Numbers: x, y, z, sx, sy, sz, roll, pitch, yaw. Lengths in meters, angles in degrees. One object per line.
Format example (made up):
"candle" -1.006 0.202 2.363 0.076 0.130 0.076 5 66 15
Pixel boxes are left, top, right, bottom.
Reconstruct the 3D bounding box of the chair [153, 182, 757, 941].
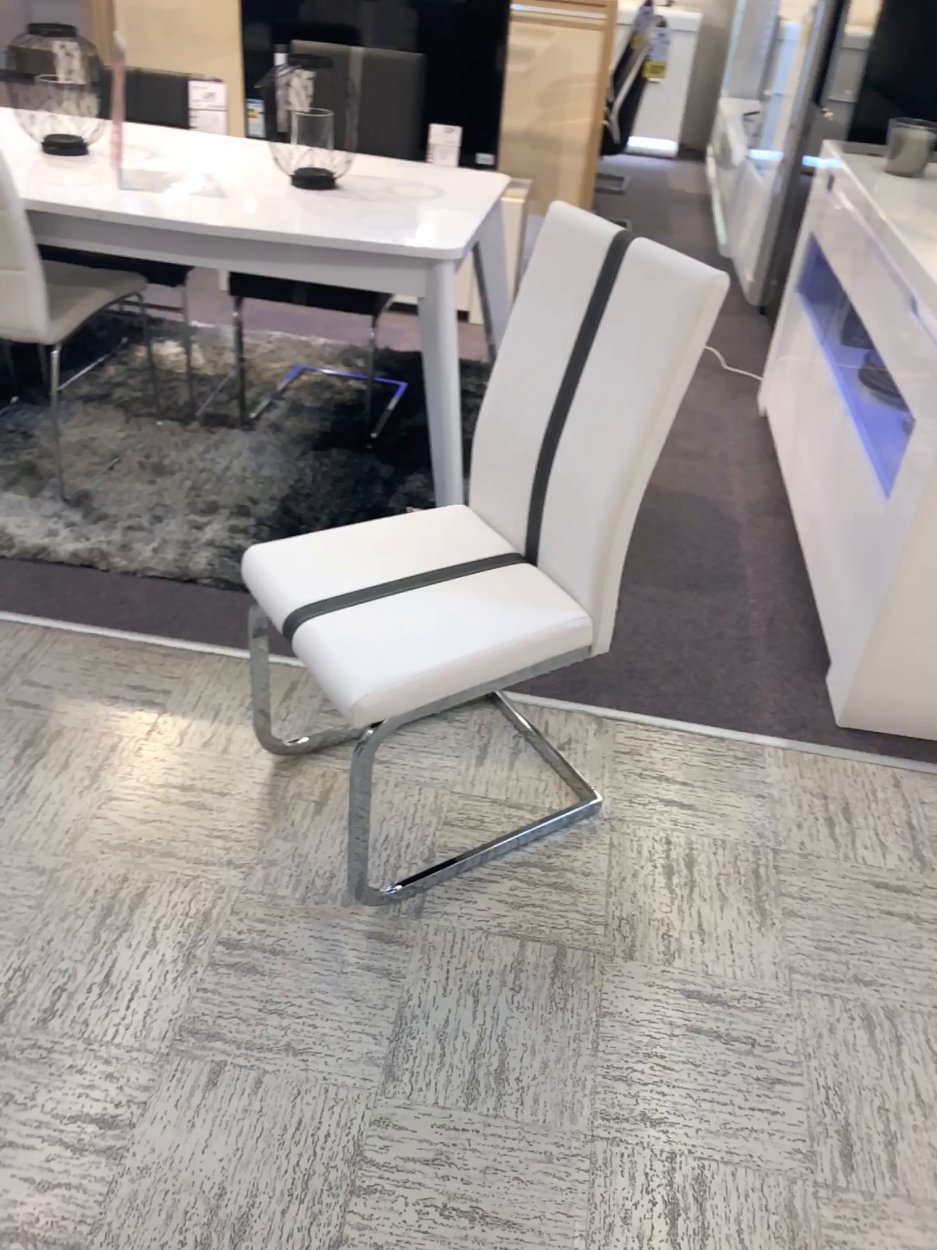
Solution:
"chair" -0.065 -0.110 1.489 0.571 0.878 0.488 -14 39 -26
